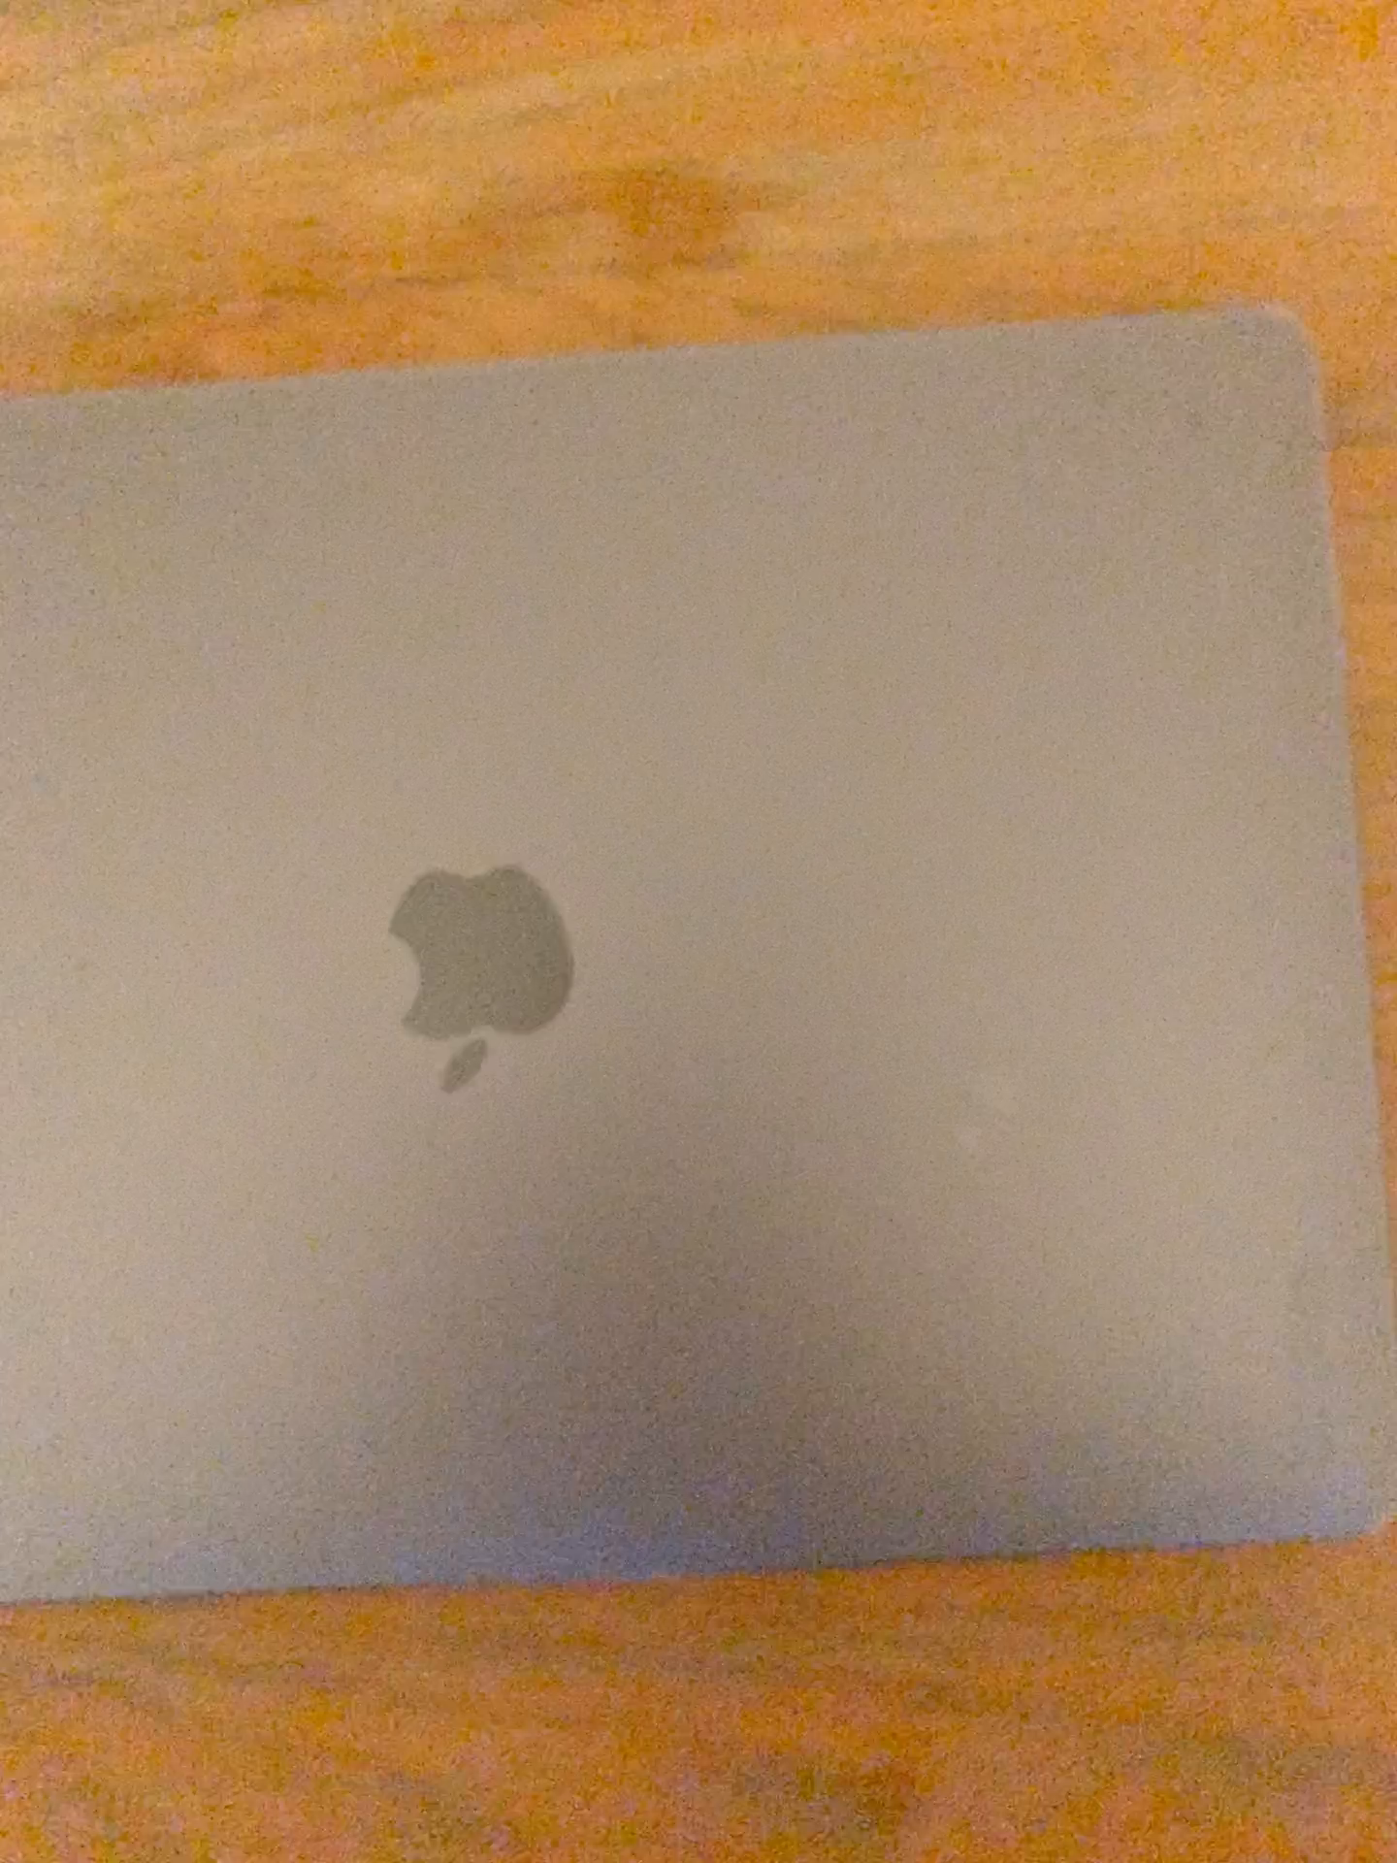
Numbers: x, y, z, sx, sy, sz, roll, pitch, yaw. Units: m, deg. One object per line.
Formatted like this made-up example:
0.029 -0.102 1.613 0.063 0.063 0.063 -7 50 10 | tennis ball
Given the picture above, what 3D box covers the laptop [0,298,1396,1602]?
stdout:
-0.036 0.005 0.257 0.292 0.005 0.210 -3 87 4 | laptop
